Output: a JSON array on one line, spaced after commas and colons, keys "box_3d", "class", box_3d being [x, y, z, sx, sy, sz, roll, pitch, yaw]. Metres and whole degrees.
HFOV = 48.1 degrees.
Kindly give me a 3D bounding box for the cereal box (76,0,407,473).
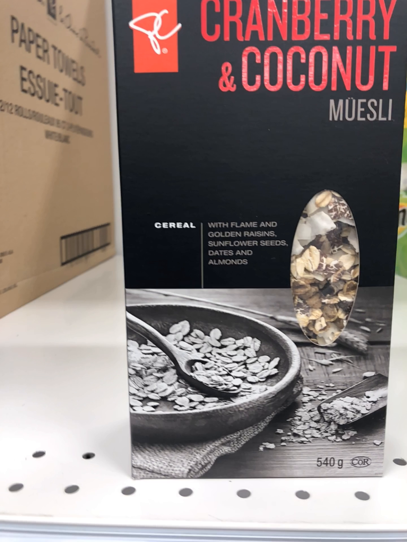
[{"box_3d": [0.017, -0.020, 0.212, 0.120, 0.200, 0.070, -1, 8, 0], "class": "cereal box"}]
